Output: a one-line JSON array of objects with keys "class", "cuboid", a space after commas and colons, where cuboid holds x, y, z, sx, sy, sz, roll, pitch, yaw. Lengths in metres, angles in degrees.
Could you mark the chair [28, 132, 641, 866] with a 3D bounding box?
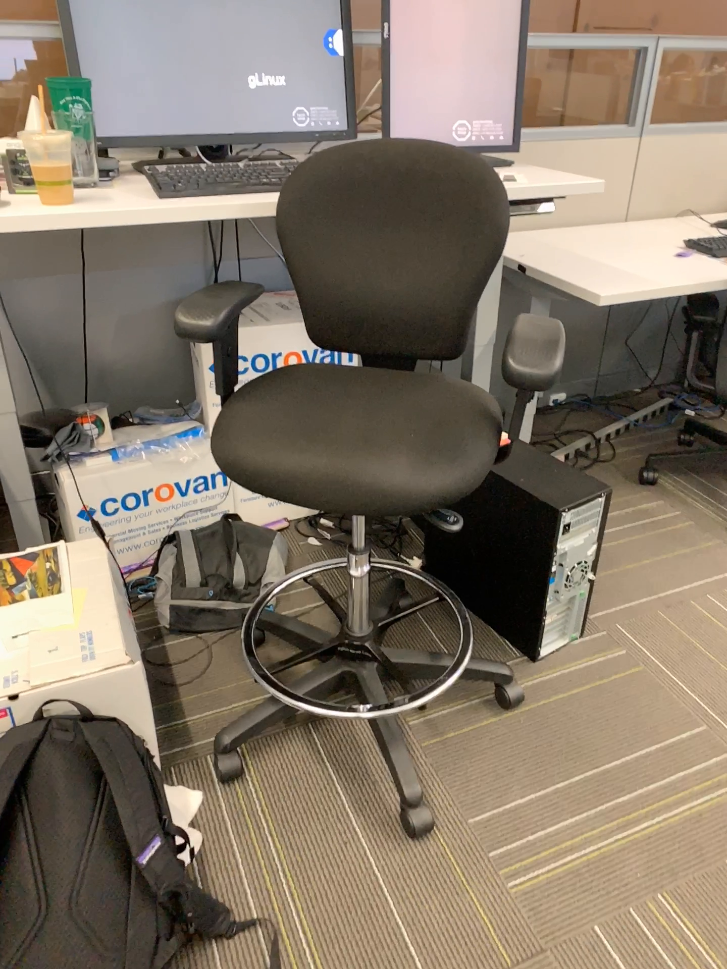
[{"class": "chair", "cuboid": [0.016, -0.033, 1.433, 0.711, 1.103, 0.774, 6, 30, 10]}]
